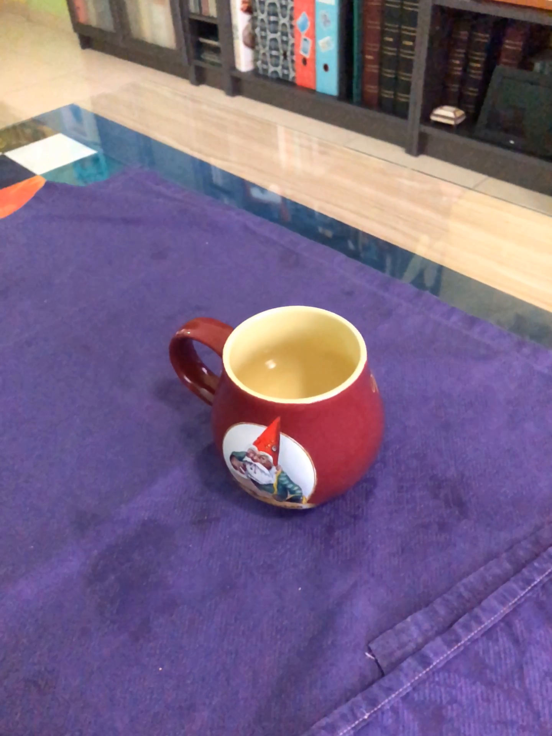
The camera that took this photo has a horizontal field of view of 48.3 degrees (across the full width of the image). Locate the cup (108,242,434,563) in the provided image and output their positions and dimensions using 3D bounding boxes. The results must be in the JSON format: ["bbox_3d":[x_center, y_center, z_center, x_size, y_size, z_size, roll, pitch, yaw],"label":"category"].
[{"bbox_3d":[0.000,0.012,0.302,0.120,0.090,0.080,24,50,27],"label":"cup"}]
